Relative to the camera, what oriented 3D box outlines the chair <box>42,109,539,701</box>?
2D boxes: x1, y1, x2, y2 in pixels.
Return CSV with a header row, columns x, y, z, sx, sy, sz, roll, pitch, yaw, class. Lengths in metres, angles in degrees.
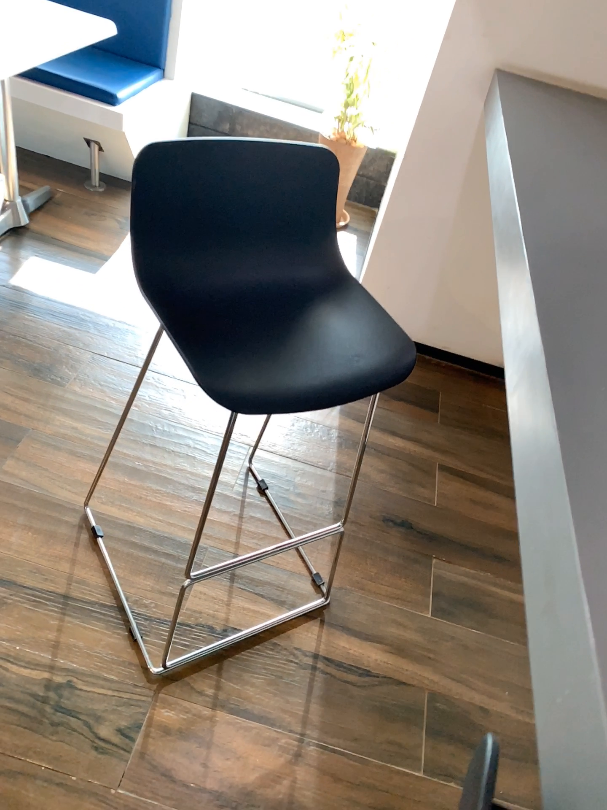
x,y,z,sx,sy,sz,roll,pitch,yaw,class
-0.128,-0.002,1.209,0.542,0.863,0.593,-13,49,-31,chair
